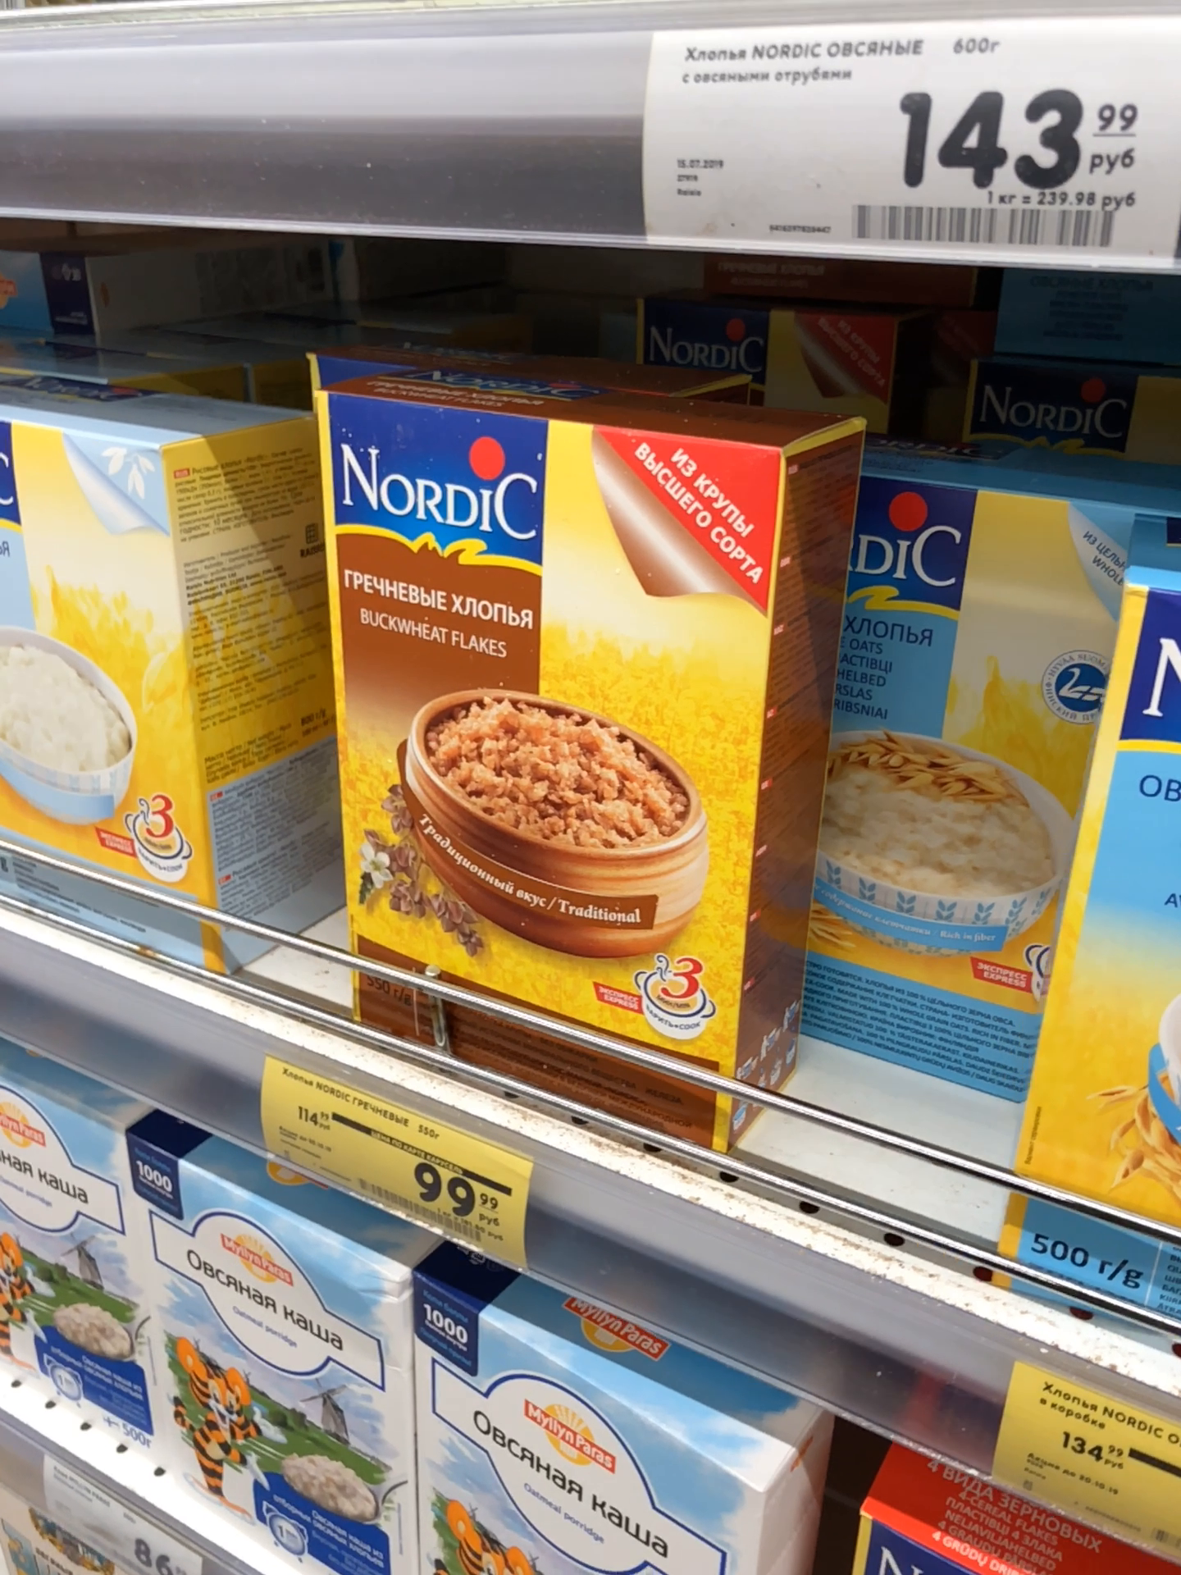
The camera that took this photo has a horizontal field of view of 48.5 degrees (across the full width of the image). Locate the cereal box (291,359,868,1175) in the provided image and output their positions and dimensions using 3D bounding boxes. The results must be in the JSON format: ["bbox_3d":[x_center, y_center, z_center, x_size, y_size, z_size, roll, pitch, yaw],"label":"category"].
[{"bbox_3d":[-0.006,-0.012,0.396,0.140,0.209,0.070,14,27,27],"label":"cereal box"}]
